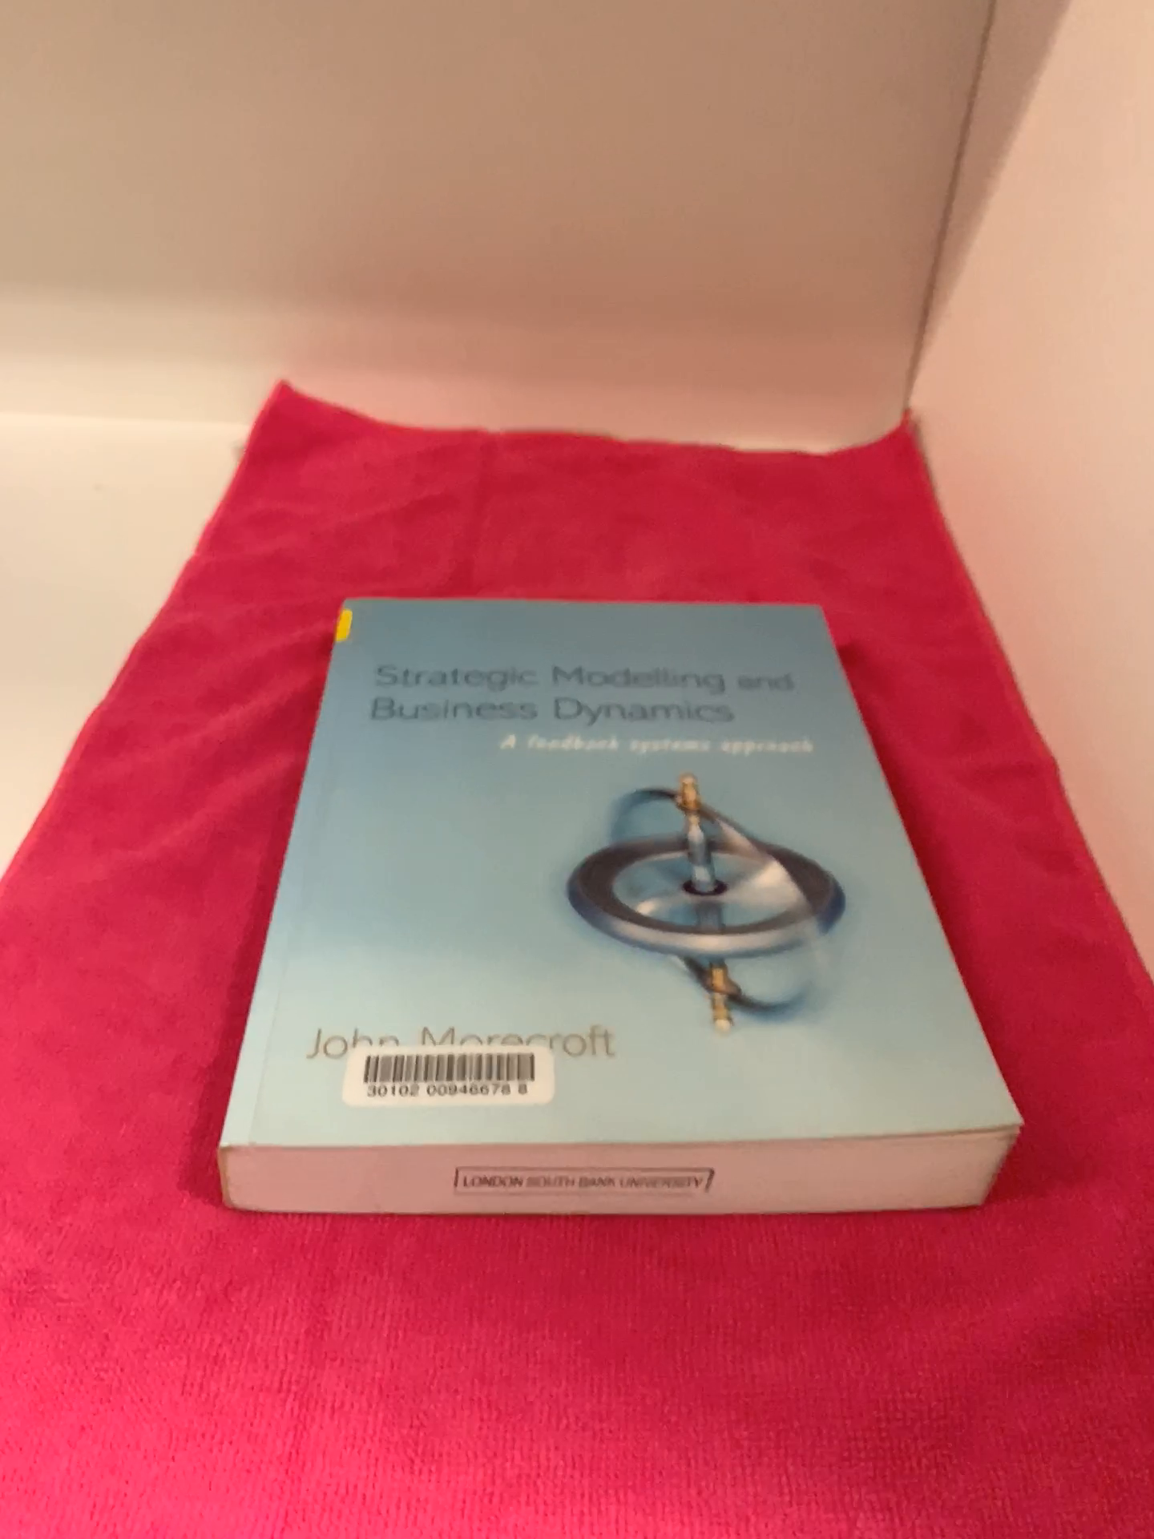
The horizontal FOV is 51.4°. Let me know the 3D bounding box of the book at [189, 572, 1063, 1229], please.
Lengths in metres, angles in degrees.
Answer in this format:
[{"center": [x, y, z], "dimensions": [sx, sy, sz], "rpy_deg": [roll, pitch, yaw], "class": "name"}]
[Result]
[{"center": [0.009, 0.017, 0.373], "dimensions": [0.193, 0.033, 0.252], "rpy_deg": [1, 38, -2], "class": "book"}]
